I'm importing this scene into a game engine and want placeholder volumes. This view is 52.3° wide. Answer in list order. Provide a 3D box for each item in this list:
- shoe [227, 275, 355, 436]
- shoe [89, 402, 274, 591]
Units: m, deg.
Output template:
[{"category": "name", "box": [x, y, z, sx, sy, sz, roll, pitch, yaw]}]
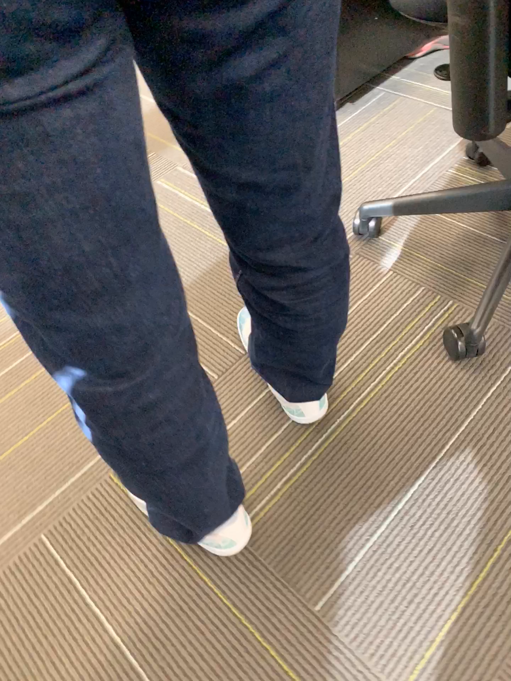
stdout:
[{"category": "shoe", "box": [0.059, 0.018, 0.957, 0.117, 0.088, 0.284, -23, 51, -8]}, {"category": "shoe", "box": [-0.122, 0.237, 0.831, 0.290, 0.078, 0.122, 33, 63, 31]}]
